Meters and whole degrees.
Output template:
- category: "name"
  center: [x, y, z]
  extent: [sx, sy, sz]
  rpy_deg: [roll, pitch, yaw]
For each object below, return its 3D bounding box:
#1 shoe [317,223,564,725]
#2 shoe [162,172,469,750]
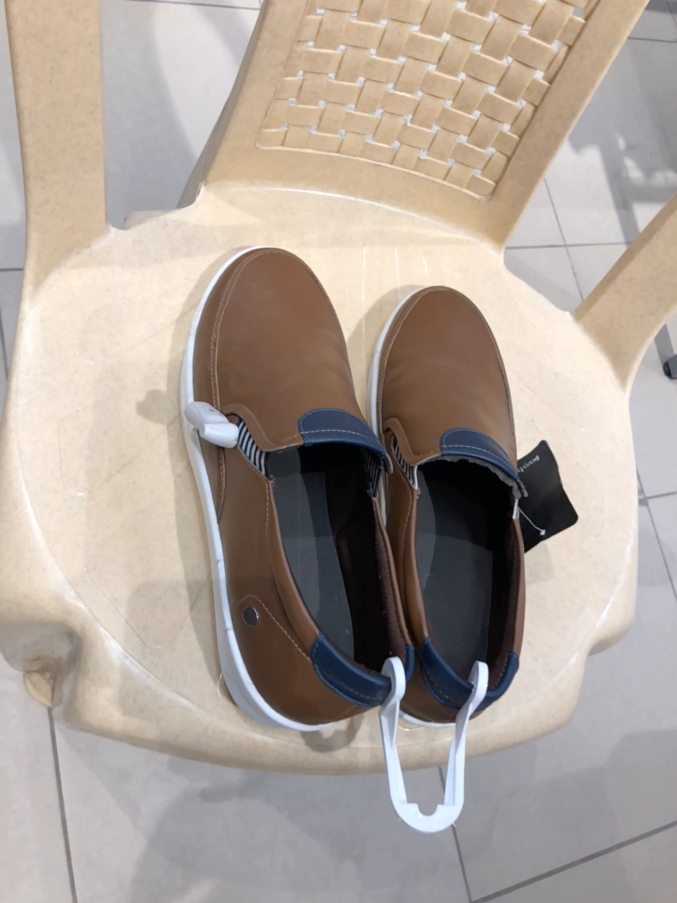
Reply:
- category: "shoe"
  center: [0.060, 0.014, 0.448]
  extent: [0.105, 0.099, 0.271]
  rpy_deg: [9, 67, -8]
- category: "shoe"
  center: [-0.021, 0.008, 0.404]
  extent: [0.105, 0.099, 0.271]
  rpy_deg: [12, 64, -41]
